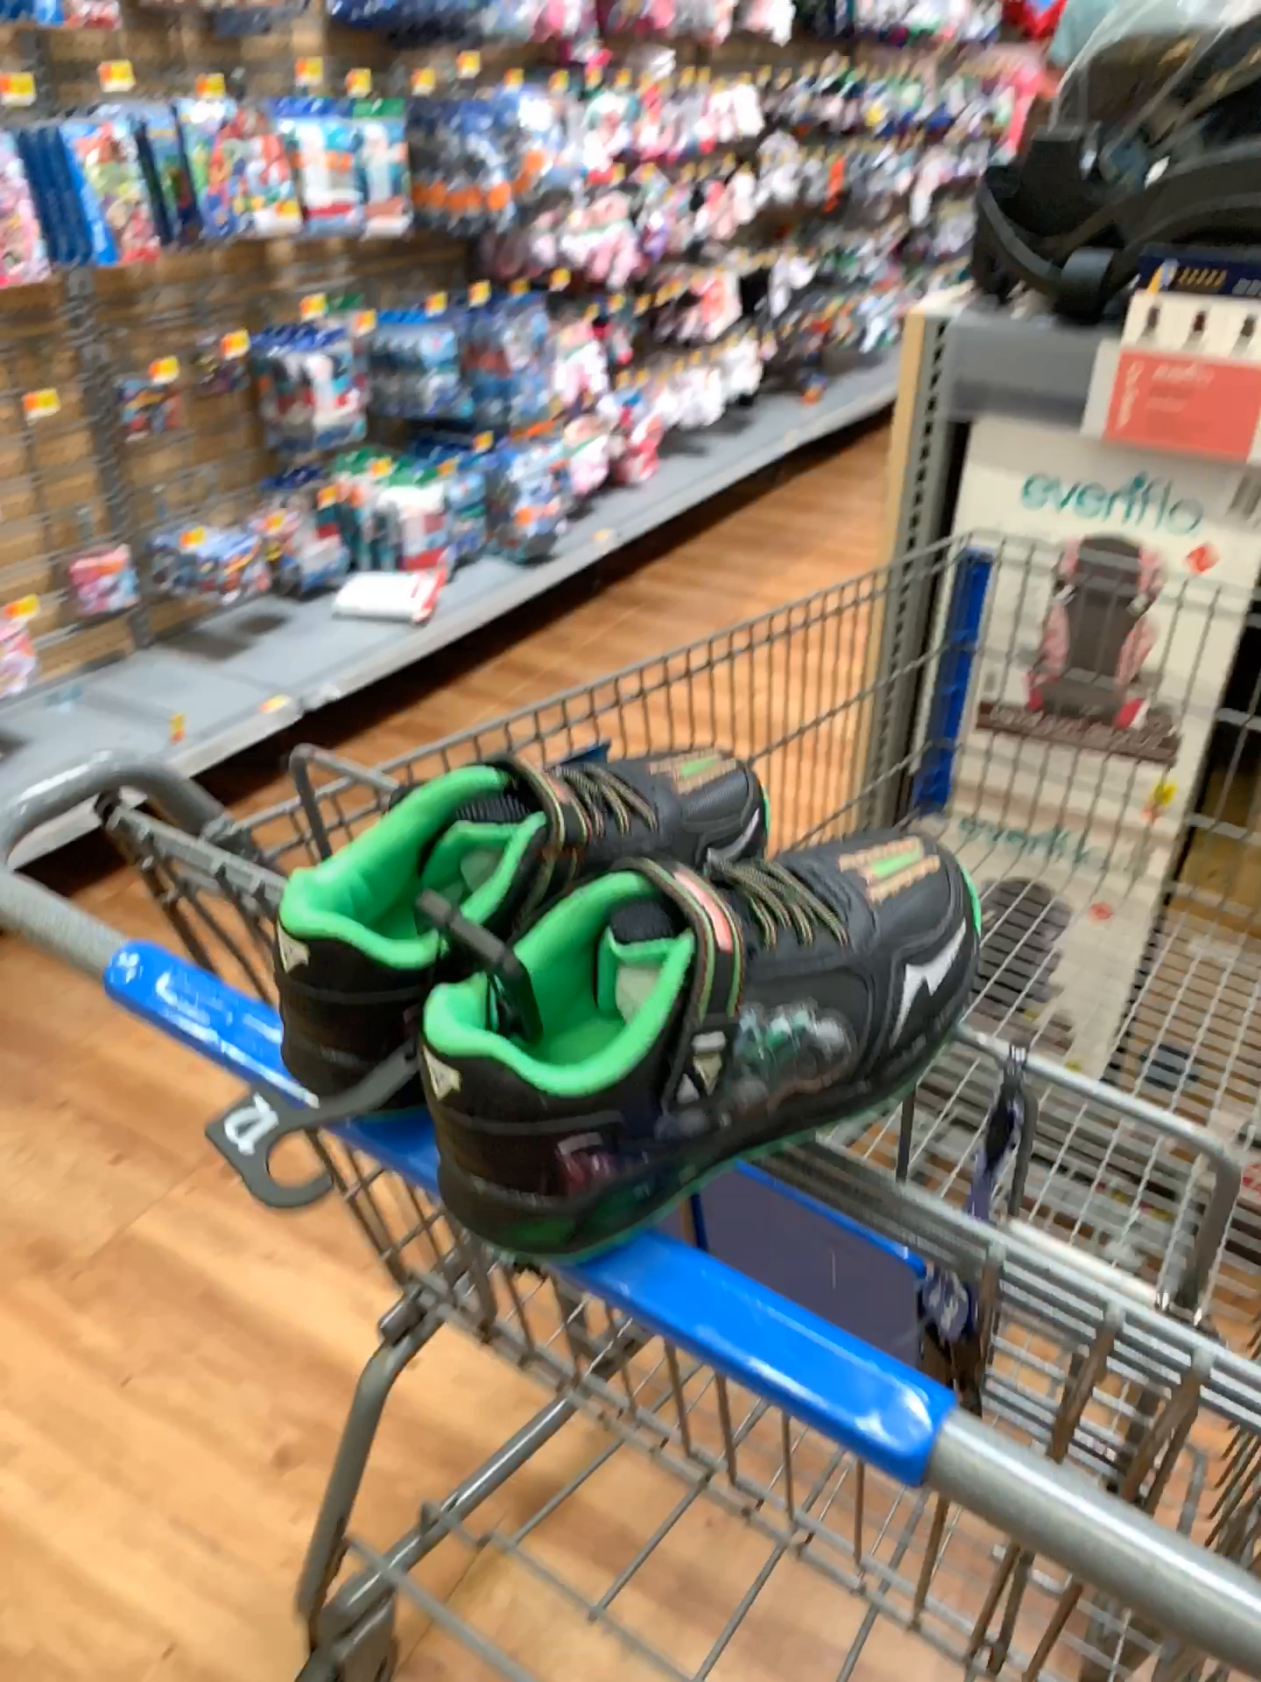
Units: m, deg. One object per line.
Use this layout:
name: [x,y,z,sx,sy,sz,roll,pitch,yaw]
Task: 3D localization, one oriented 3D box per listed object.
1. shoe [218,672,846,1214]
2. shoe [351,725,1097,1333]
shoe: [-0.028,0.023,0.461,0.195,0.093,0.095,-24,40,-35]
shoe: [0.033,0.045,0.408,0.213,0.086,0.090,-19,37,-30]
